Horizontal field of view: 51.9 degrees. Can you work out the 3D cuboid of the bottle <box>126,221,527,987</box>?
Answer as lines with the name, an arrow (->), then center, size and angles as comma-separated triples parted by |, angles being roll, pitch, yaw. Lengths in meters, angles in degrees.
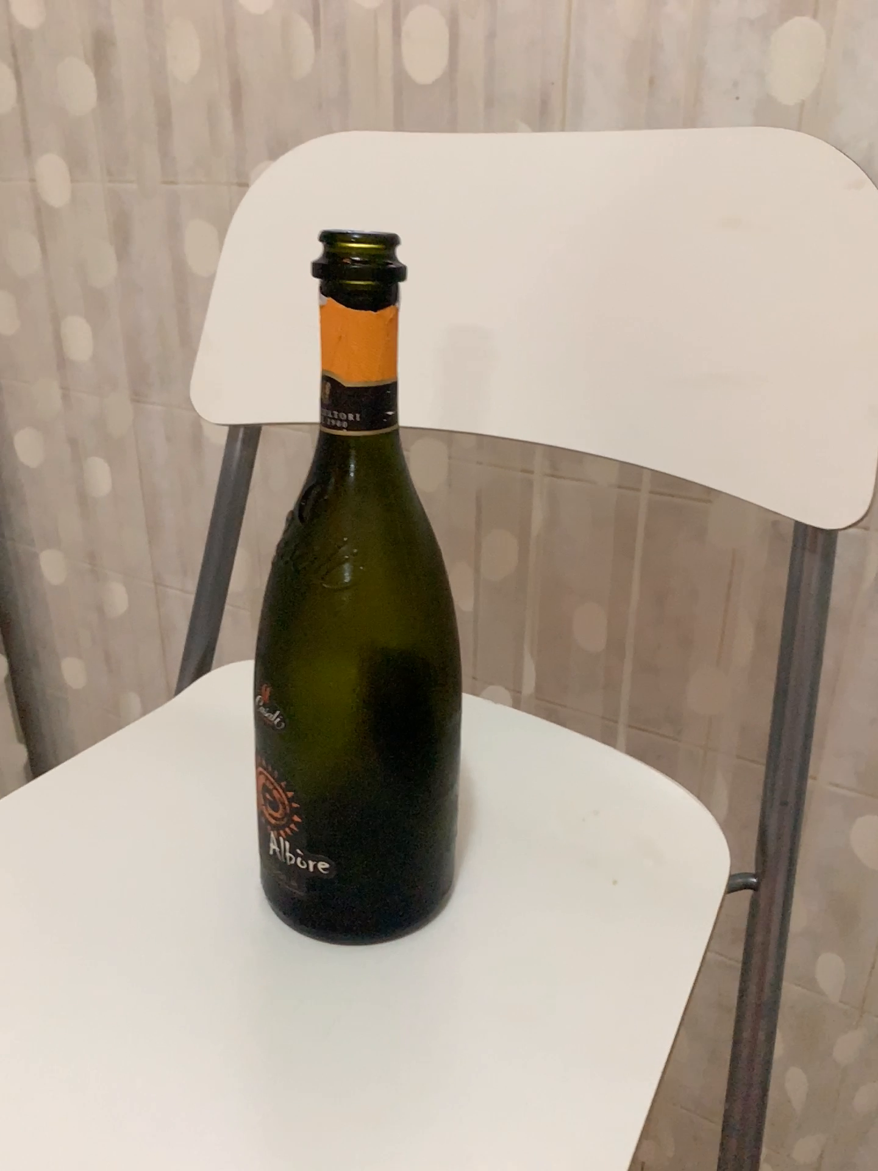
bottle -> -0.040, 0.004, 0.356 | 0.092, 0.269, 0.102 | 0, 24, 0
